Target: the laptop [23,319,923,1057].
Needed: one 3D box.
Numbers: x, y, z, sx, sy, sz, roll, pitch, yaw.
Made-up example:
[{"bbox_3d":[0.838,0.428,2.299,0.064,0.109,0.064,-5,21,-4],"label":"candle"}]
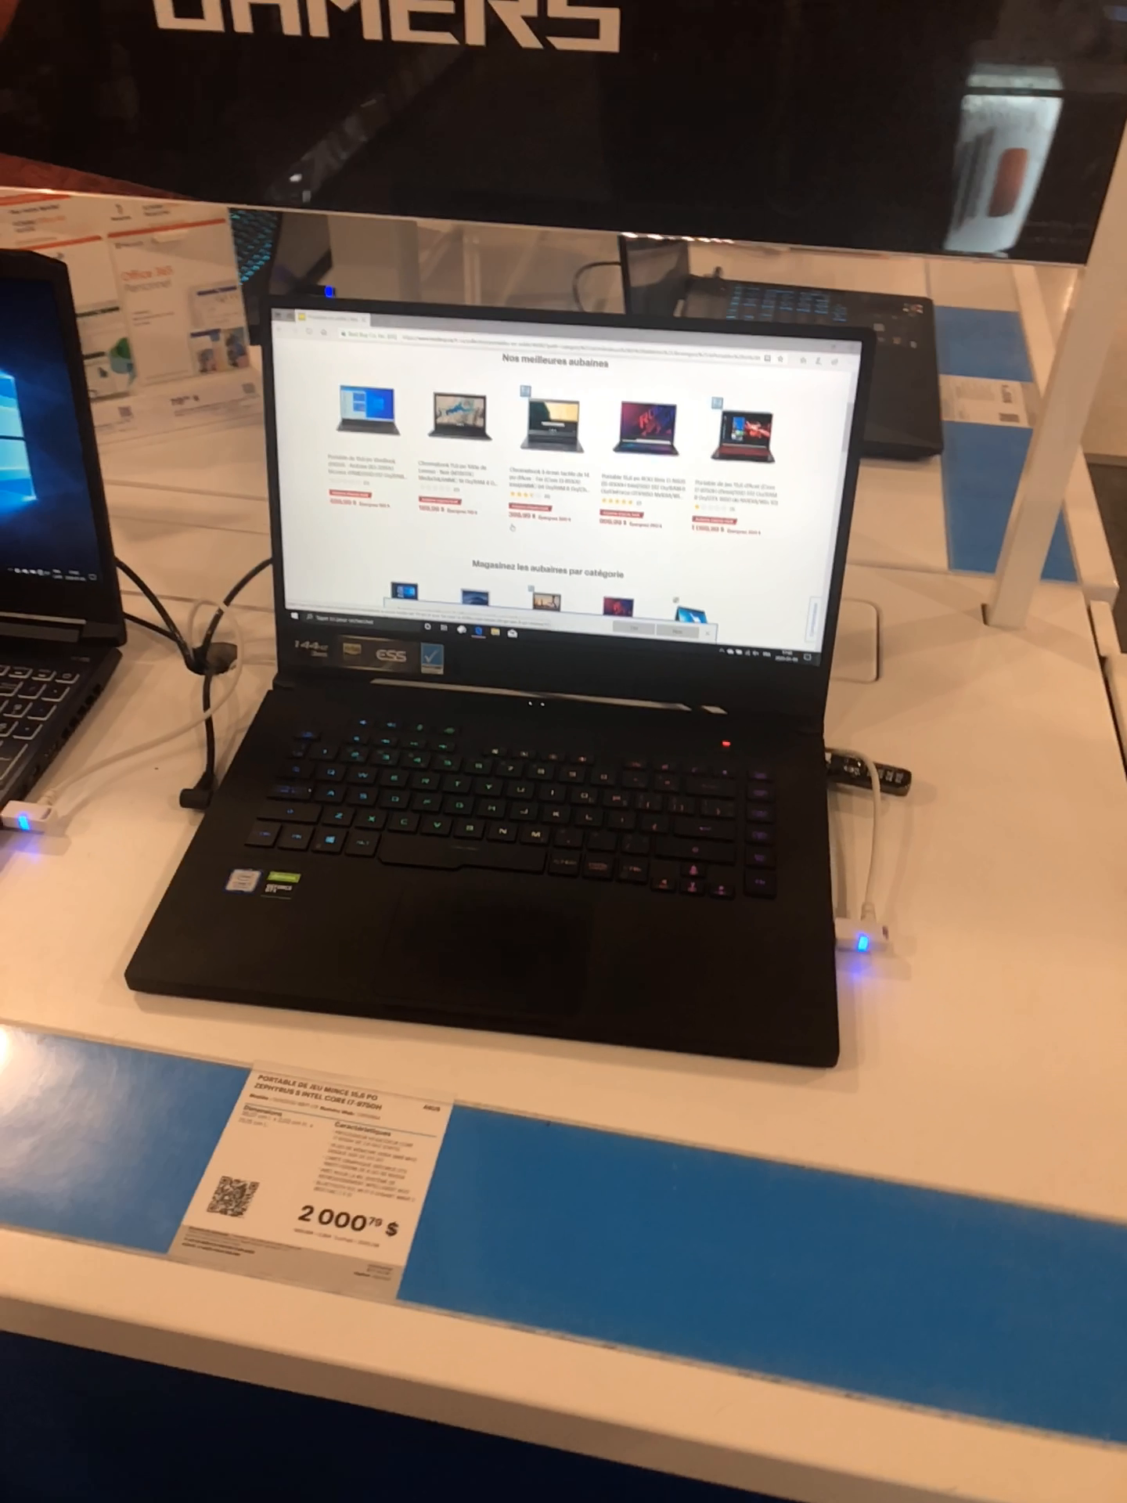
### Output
[{"bbox_3d":[-0.018,-0.056,0.641,0.340,0.207,0.316,5,40,7],"label":"laptop"}]
